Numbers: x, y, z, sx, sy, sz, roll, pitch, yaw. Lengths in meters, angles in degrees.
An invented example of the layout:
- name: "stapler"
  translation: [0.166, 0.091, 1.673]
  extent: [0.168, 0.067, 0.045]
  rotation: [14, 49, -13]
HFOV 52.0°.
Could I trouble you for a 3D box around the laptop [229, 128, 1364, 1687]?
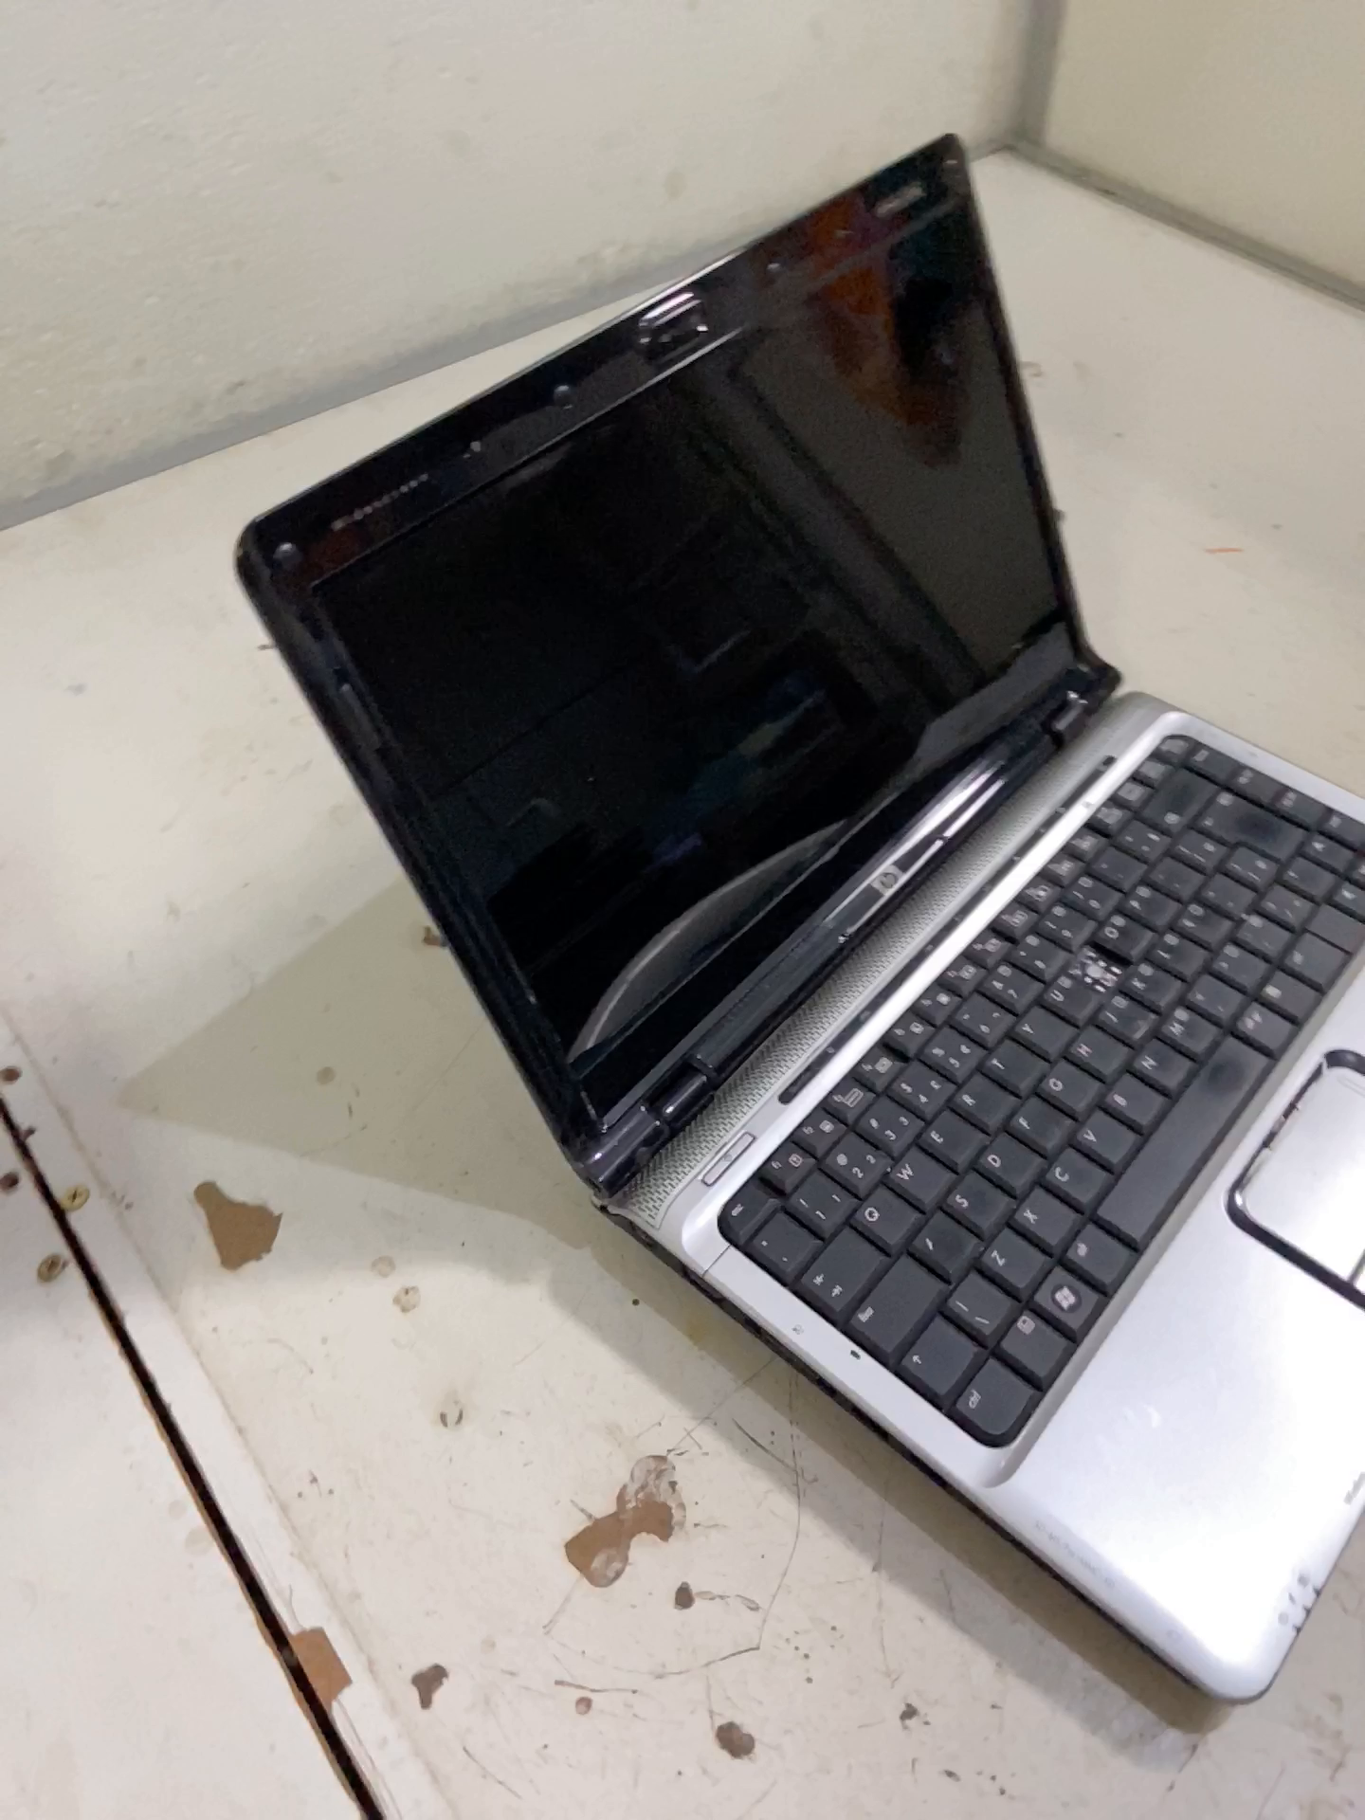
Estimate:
- name: "laptop"
  translation: [0.120, -0.043, 0.431]
  extent: [0.334, 0.193, 0.322]
  rotation: [33, 58, 26]
